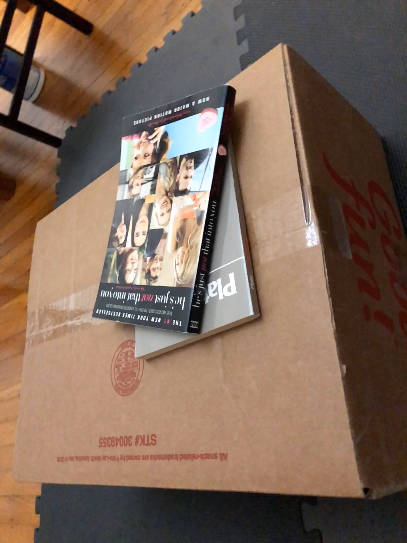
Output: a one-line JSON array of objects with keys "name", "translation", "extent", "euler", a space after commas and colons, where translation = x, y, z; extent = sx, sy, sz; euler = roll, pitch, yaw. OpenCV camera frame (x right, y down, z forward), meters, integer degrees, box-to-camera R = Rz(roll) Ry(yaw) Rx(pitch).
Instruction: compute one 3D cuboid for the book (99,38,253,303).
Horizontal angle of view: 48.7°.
[{"name": "book", "translation": [-0.032, -0.089, 0.427], "extent": [0.151, 0.010, 0.230], "euler": [0, 77, 46]}]
